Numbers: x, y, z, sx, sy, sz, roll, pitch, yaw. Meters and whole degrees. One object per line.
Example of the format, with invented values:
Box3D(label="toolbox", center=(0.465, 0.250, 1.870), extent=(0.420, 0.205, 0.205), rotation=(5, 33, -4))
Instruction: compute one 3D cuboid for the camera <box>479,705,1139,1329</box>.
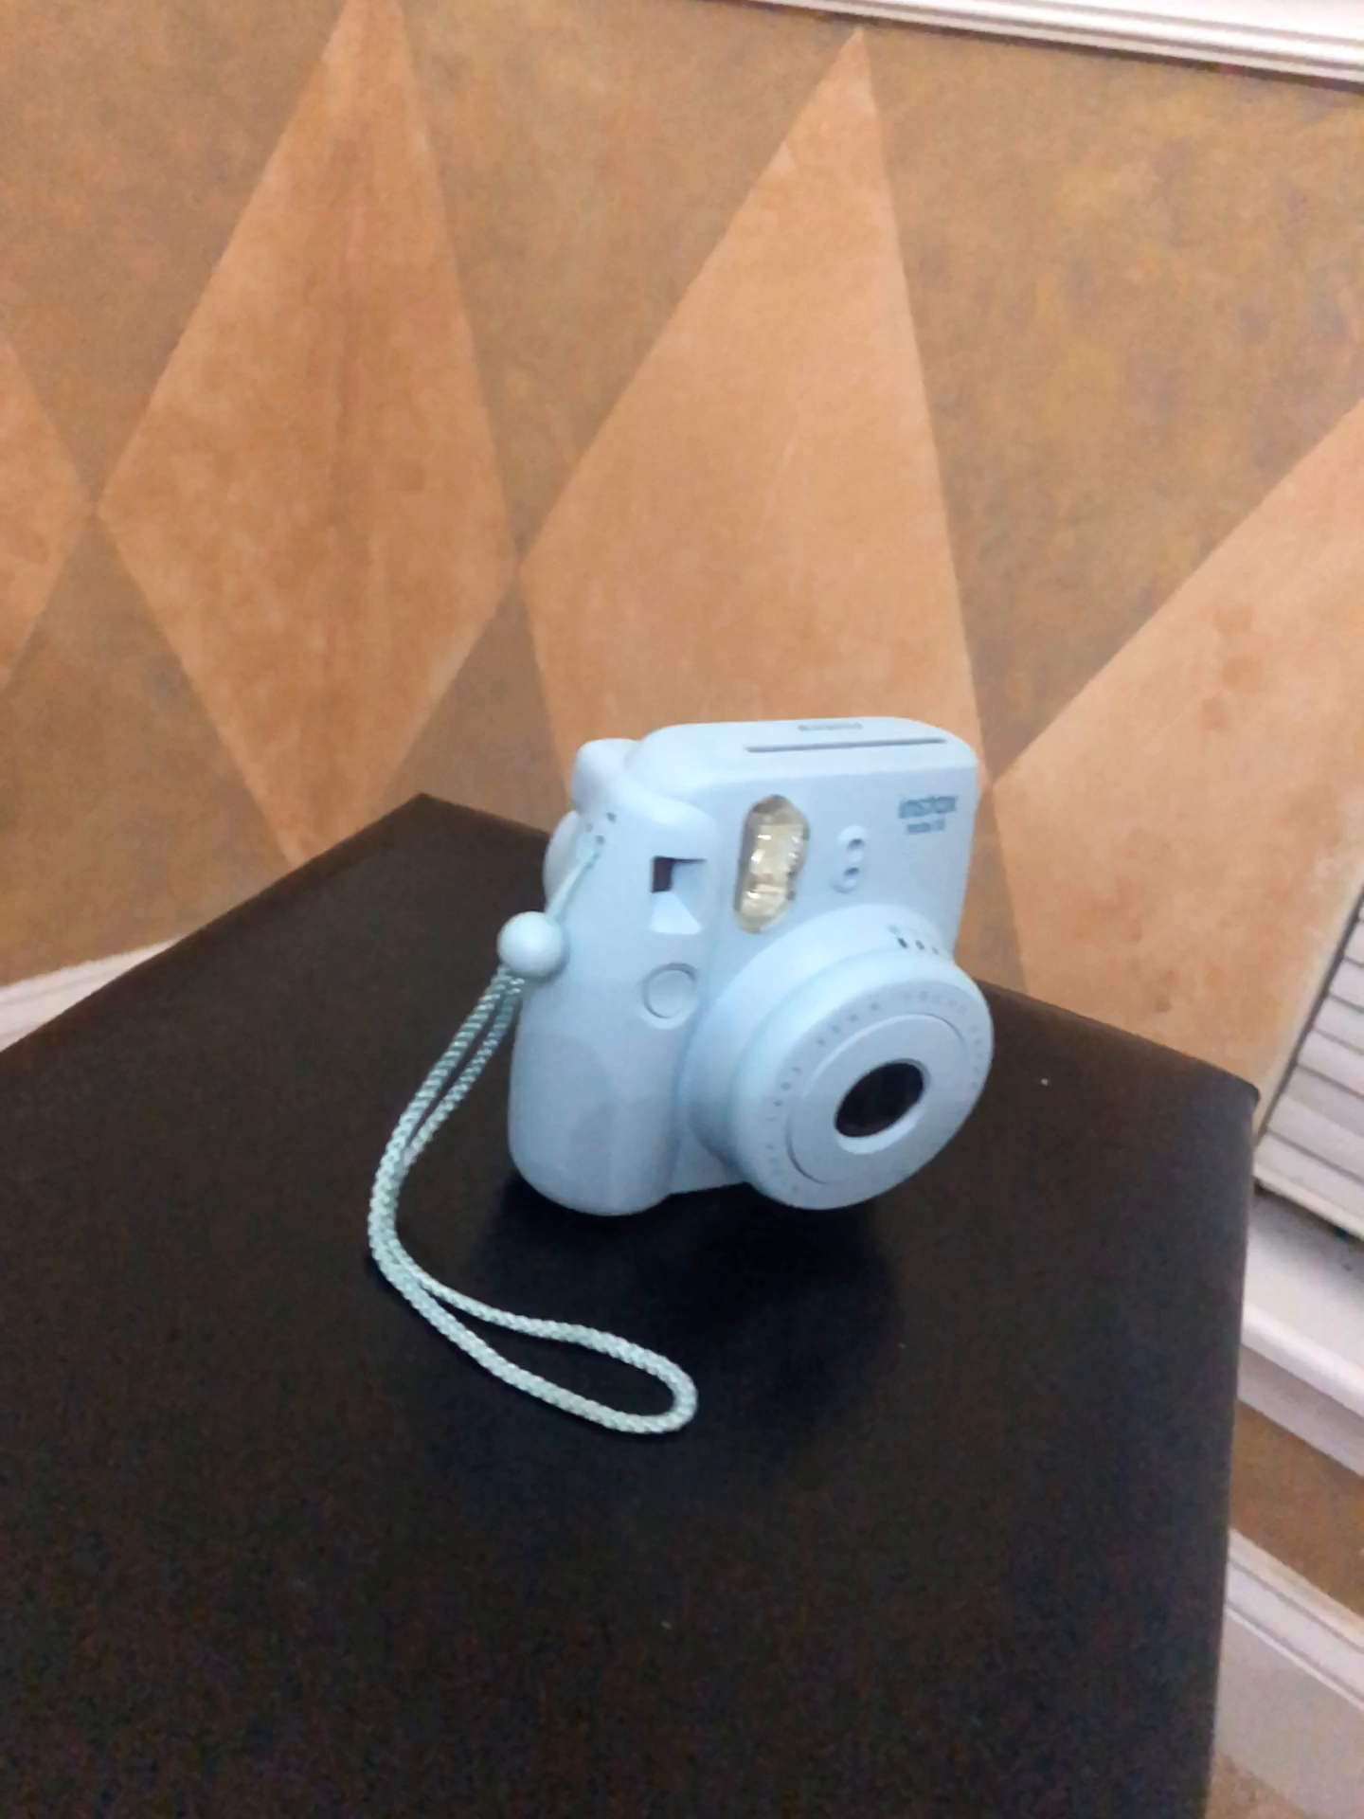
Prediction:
Box3D(label="camera", center=(0.026, 0.020, 0.366), extent=(0.120, 0.118, 0.068), rotation=(-6, 31, -30))
